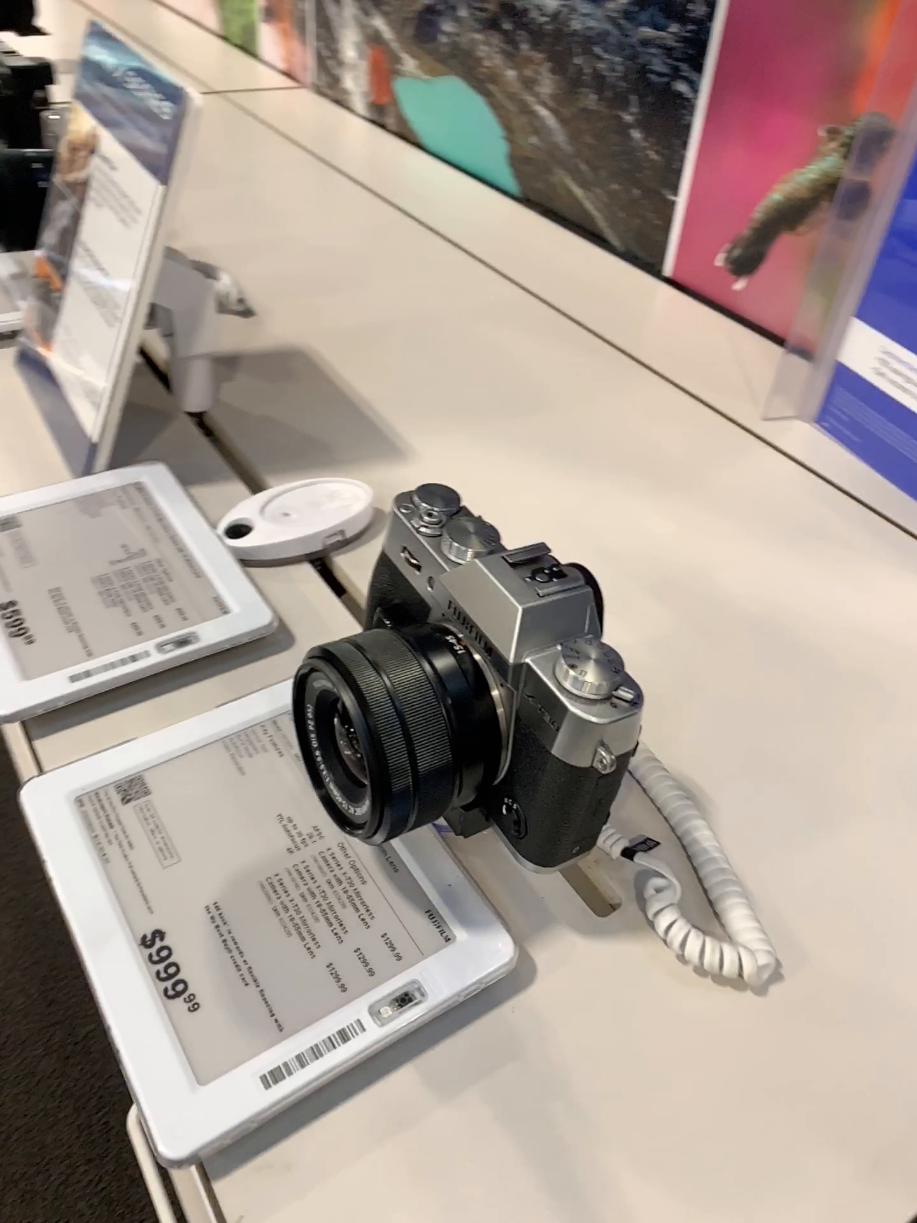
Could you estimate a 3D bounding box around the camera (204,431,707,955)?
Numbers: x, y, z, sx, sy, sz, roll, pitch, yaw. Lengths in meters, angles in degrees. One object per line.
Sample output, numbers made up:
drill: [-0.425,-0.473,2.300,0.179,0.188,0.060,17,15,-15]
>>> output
camera: [-0.008,0.017,0.313,0.100,0.080,0.131,-20,47,-25]
